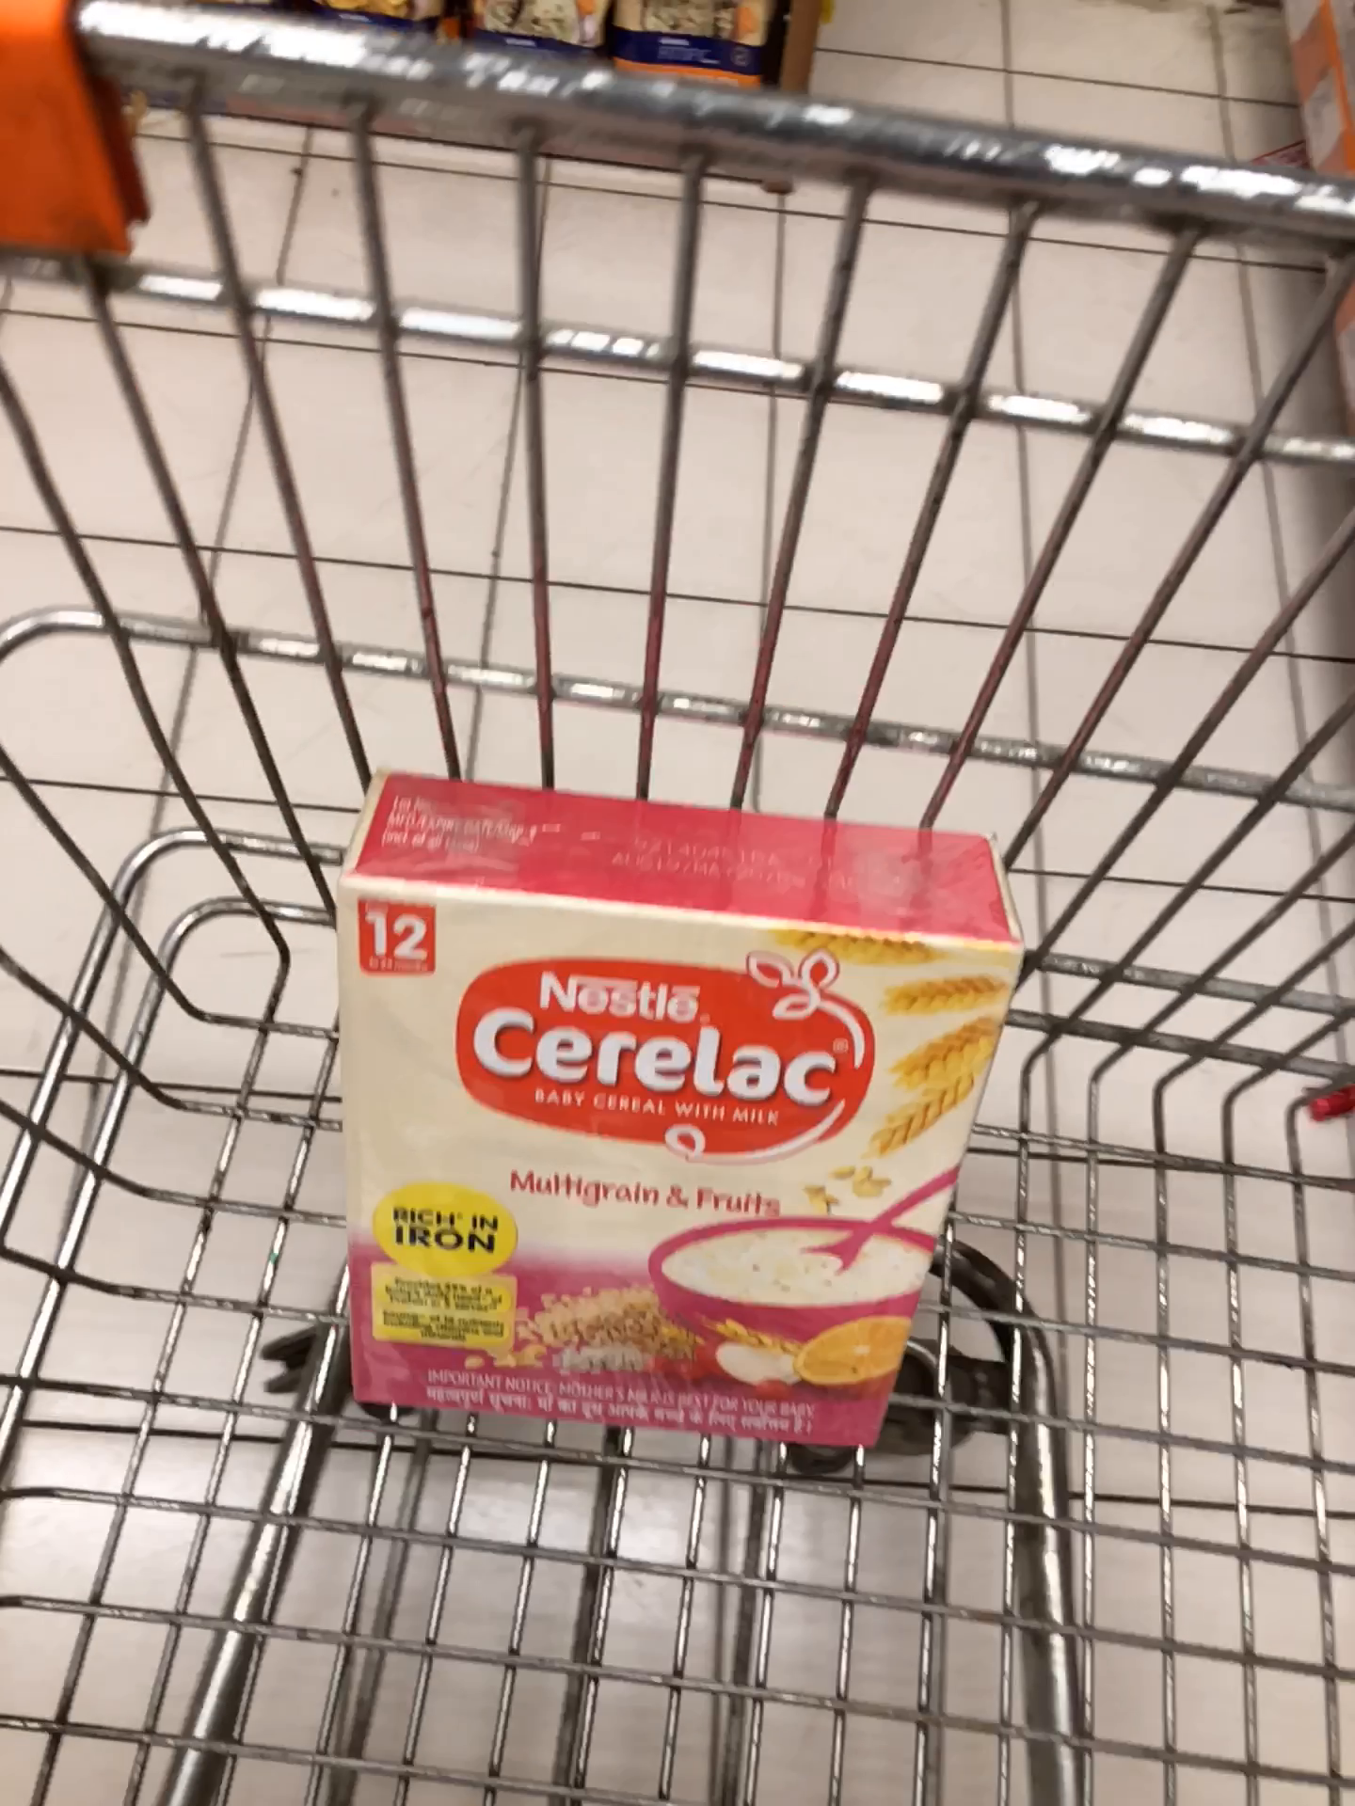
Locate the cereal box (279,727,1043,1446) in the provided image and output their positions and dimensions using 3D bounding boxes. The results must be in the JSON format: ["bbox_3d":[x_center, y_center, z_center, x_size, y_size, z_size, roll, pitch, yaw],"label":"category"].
[{"bbox_3d":[-0.013,0.058,0.389,0.160,0.189,0.050,6,37,-3],"label":"cereal box"}]
